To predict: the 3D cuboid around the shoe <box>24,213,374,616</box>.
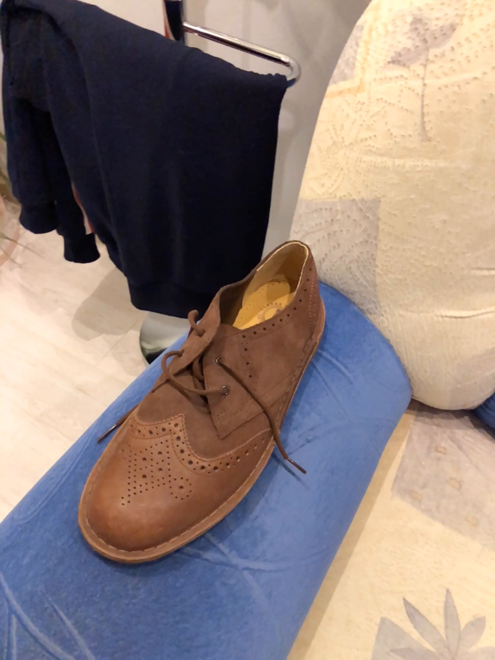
[{"bbox_3d":[-0.015,0.044,0.449,0.113,0.089,0.314,25,54,18],"label":"shoe"}]
